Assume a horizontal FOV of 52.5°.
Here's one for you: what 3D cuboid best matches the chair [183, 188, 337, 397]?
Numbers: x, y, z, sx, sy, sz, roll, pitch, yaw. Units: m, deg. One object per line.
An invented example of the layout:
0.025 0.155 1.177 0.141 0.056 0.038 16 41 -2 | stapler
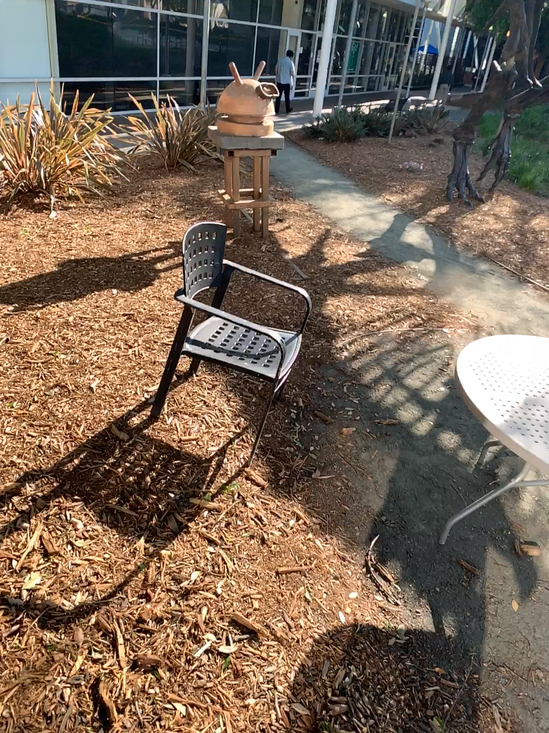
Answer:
-0.068 -0.356 2.553 0.501 0.716 0.522 14 31 11 | chair
